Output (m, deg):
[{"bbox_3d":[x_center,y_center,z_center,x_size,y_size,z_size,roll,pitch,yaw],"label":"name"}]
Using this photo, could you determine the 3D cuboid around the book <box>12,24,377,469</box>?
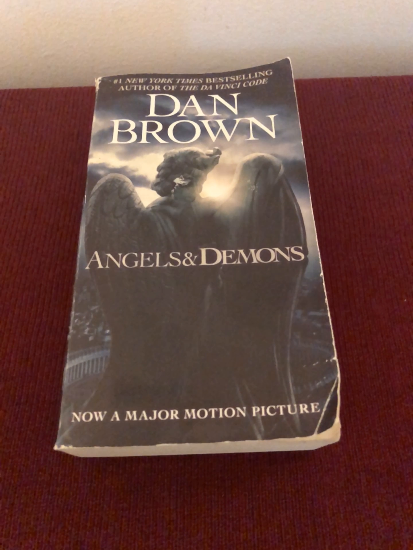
[{"bbox_3d":[-0.007,-0.026,0.216,0.120,0.040,0.211,-4,63,3],"label":"book"}]
